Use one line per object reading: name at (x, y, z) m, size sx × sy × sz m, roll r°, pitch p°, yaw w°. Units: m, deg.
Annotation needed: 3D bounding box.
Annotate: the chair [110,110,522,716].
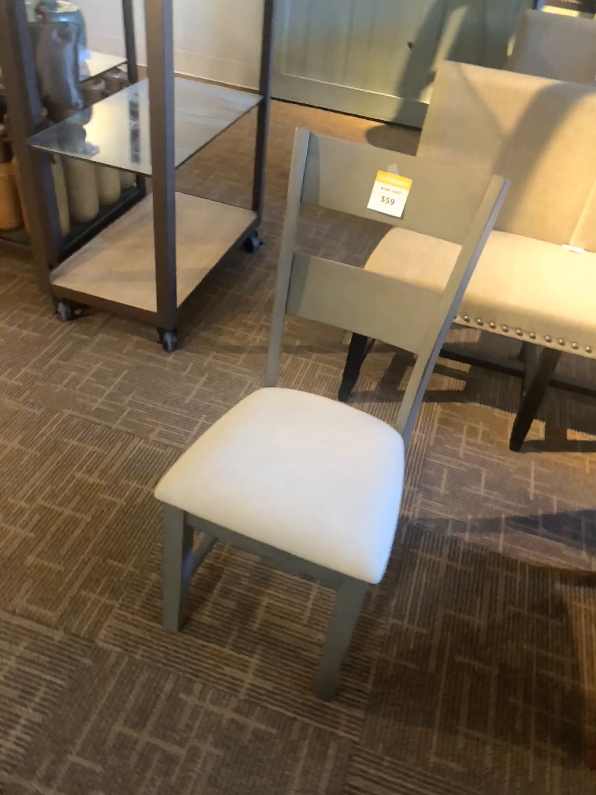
chair at (0.036, 0.045, 1.331) m, size 0.460 × 0.965 × 0.633 m, roll 19°, pitch 41°, yaw 13°
